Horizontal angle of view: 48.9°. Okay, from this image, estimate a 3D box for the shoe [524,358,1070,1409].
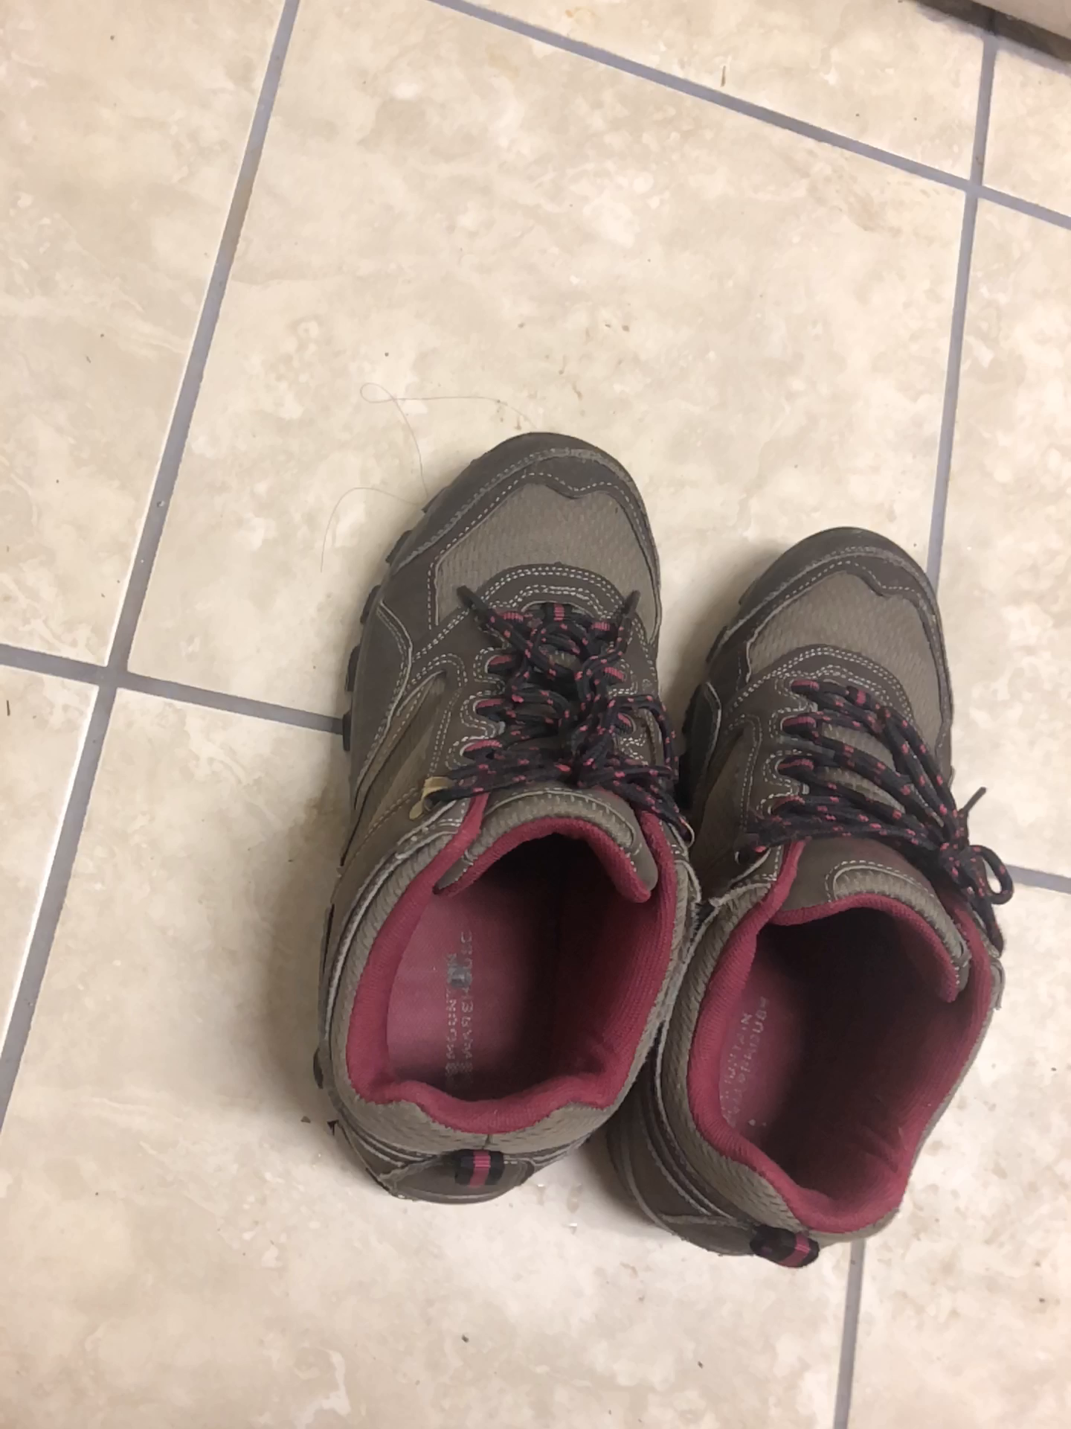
[{"bbox_3d":[0.094,0.047,0.375,0.110,0.120,0.260,17,76,-10],"label":"shoe"}]

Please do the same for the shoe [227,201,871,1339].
[{"bbox_3d":[0.001,0.016,0.355,0.120,0.120,0.270,13,77,-11],"label":"shoe"}]
